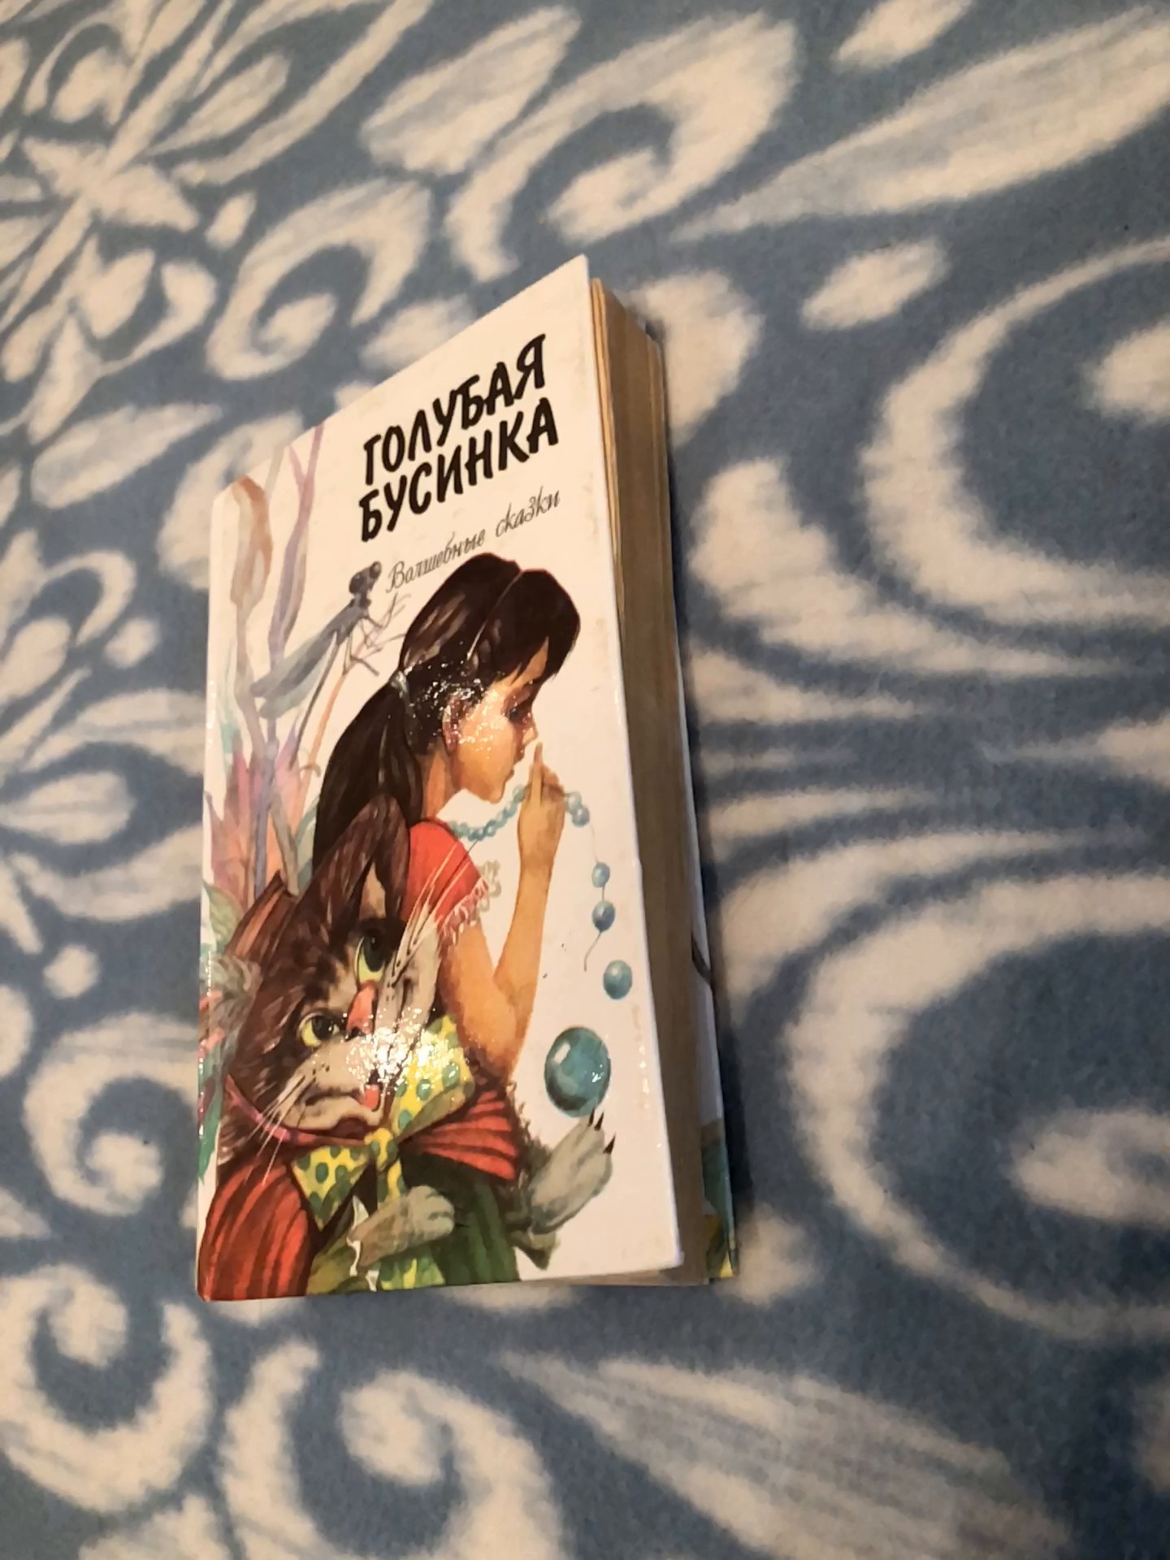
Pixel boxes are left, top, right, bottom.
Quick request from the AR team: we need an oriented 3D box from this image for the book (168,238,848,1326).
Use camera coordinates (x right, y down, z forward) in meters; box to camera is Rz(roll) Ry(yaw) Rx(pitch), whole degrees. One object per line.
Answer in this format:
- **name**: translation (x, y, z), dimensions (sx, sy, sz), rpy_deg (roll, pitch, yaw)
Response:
- **book**: translation (-0.030, 0.007, 0.293), dimensions (0.146, 0.040, 0.206), rpy_deg (-20, 65, 35)
